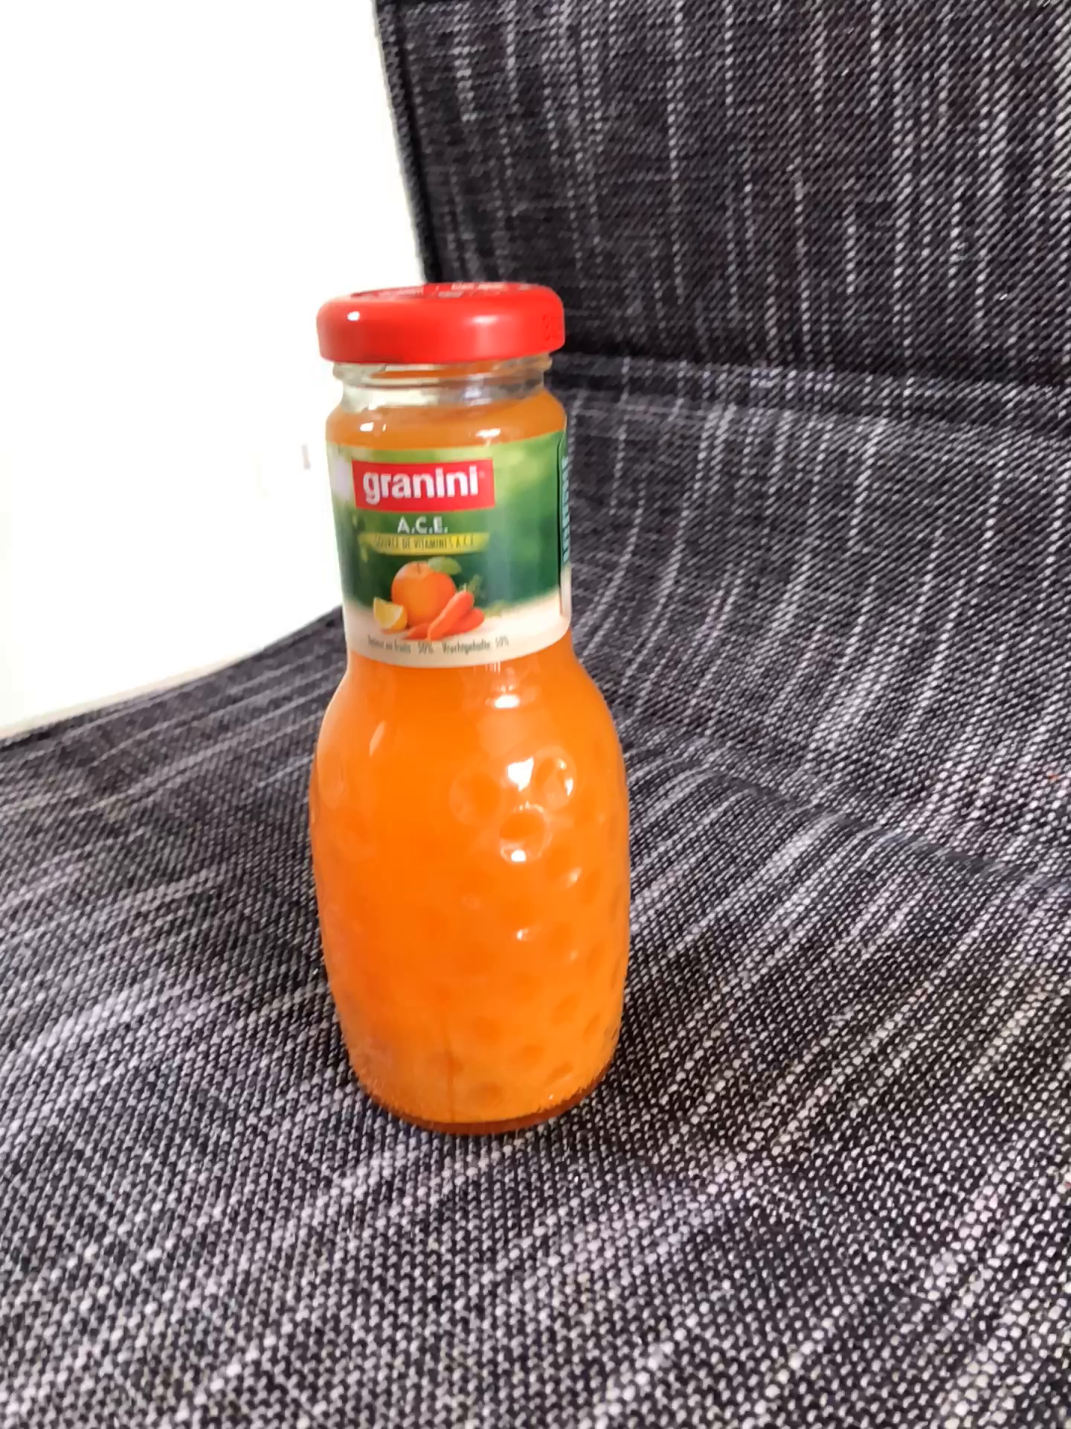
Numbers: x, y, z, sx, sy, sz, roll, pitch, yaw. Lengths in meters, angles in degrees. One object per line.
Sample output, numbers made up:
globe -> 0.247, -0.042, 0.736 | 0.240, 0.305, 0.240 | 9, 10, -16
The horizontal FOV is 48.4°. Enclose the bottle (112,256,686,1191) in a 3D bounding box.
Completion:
bottle -> -0.013, 0.002, 0.214 | 0.070, 0.149, 0.060 | 3, 25, 14
